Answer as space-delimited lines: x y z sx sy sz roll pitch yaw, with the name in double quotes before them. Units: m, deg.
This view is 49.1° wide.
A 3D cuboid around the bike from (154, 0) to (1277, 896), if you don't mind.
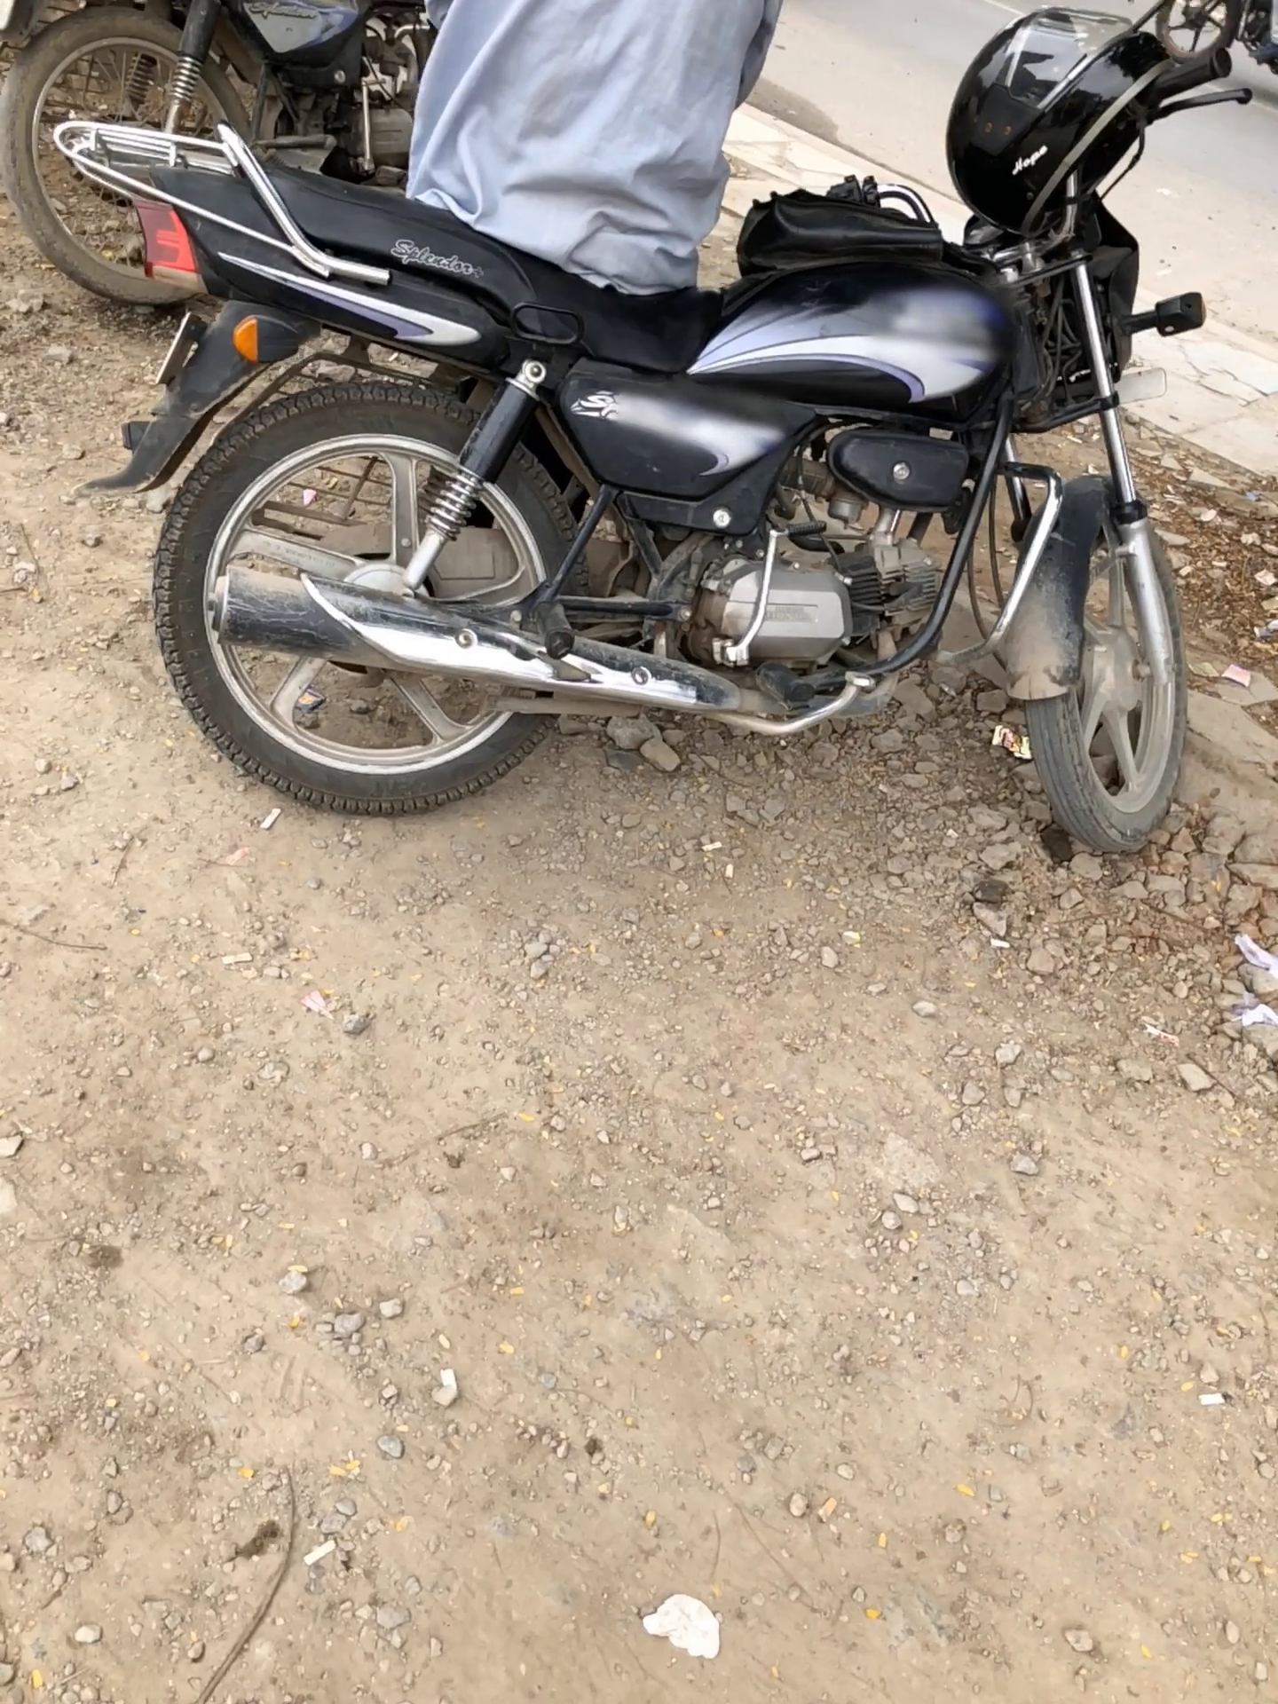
"bike" 0.140 -0.667 2.045 1.597 1.170 0.742 -2 42 -20
